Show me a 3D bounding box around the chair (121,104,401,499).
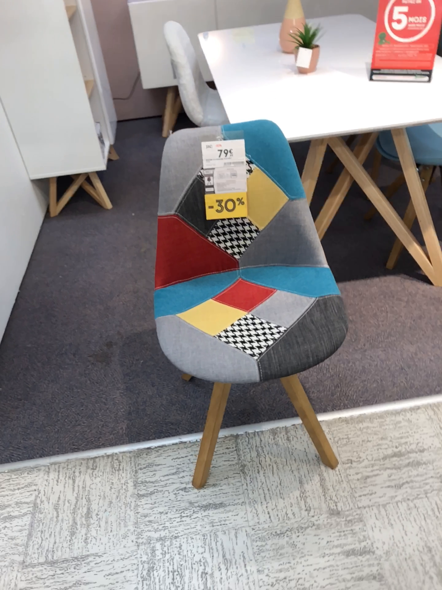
[{"bbox_3d":[0.070,0.033,1.250,0.470,0.815,0.513,-9,39,-3],"label":"chair"}]
